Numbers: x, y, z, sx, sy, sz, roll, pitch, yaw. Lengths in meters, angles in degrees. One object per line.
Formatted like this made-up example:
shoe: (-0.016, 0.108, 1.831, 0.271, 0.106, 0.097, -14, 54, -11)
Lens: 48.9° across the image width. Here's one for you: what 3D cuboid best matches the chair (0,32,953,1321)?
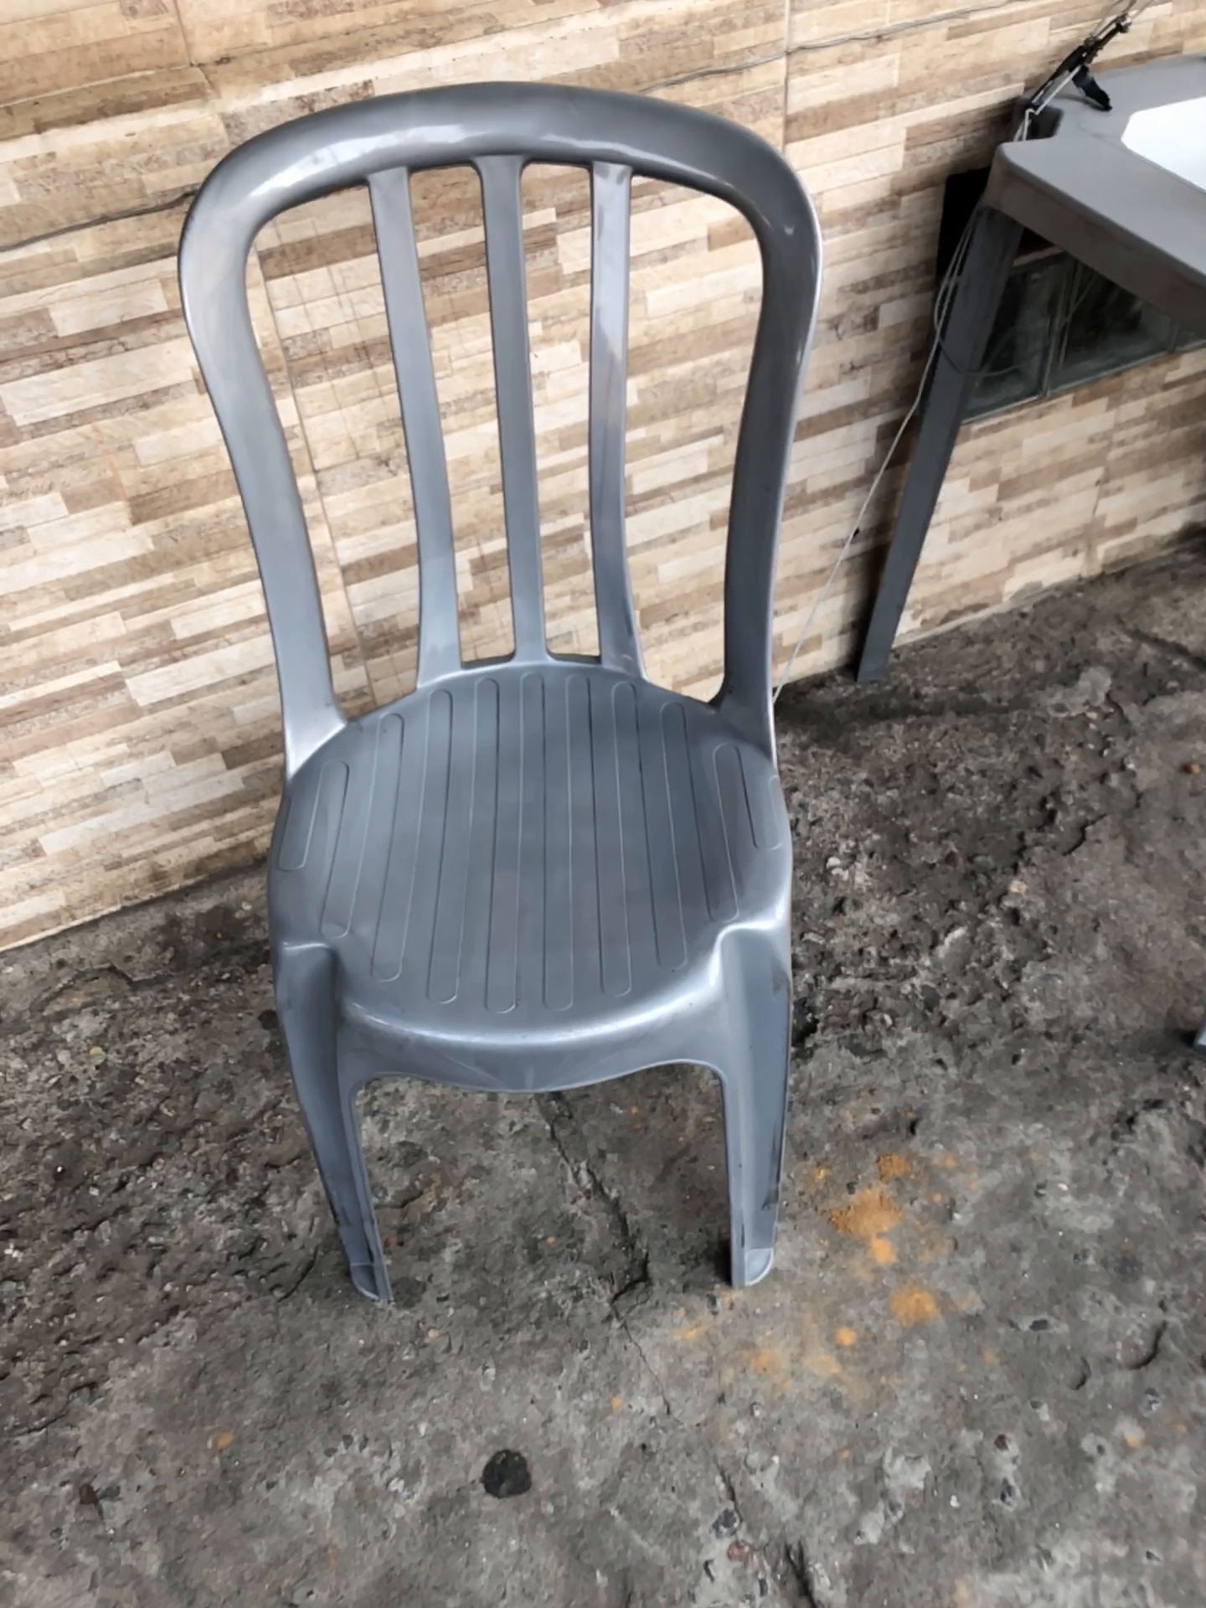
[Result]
chair: (-0.057, -0.030, 1.017, 0.440, 0.835, 0.503, -3, 47, 2)
